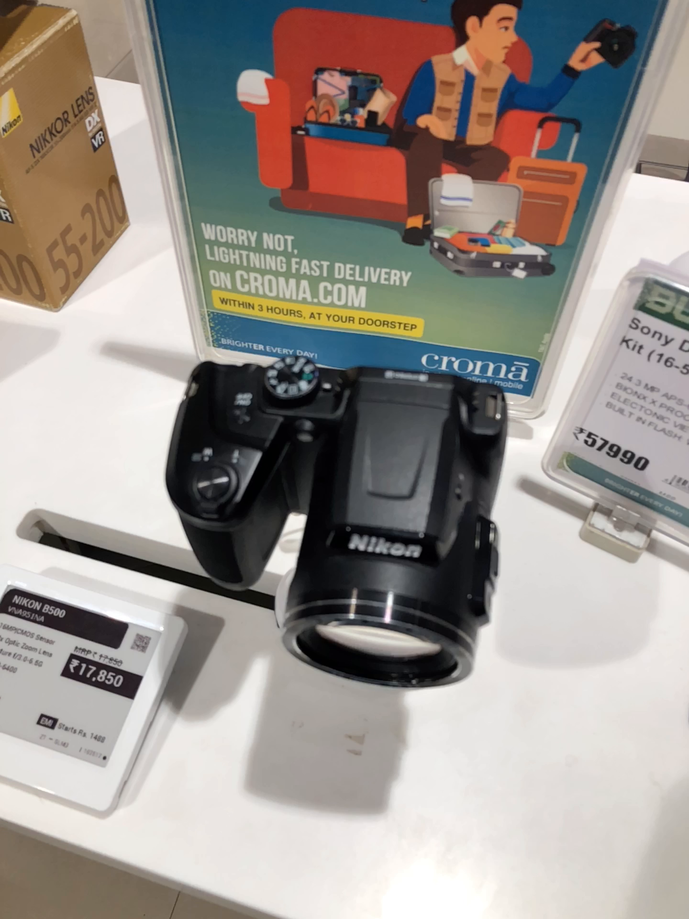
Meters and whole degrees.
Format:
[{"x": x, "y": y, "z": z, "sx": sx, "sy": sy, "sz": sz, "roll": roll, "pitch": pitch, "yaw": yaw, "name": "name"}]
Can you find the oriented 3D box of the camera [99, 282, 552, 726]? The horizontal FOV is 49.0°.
[{"x": 0.001, "y": 0.012, "z": 0.242, "sx": 0.110, "sy": 0.070, "sz": 0.111, "roll": 6, "pitch": 53, "yaw": 4, "name": "camera"}]
